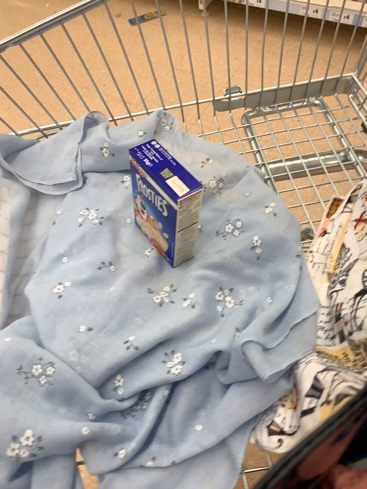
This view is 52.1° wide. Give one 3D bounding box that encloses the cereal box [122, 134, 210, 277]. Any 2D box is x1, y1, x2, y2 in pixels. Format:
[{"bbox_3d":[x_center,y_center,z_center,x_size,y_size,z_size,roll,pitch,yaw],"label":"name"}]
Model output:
[{"bbox_3d":[-0.021,-0.041,0.435,0.040,0.129,0.101,-29,59,-21],"label":"cereal box"}]
